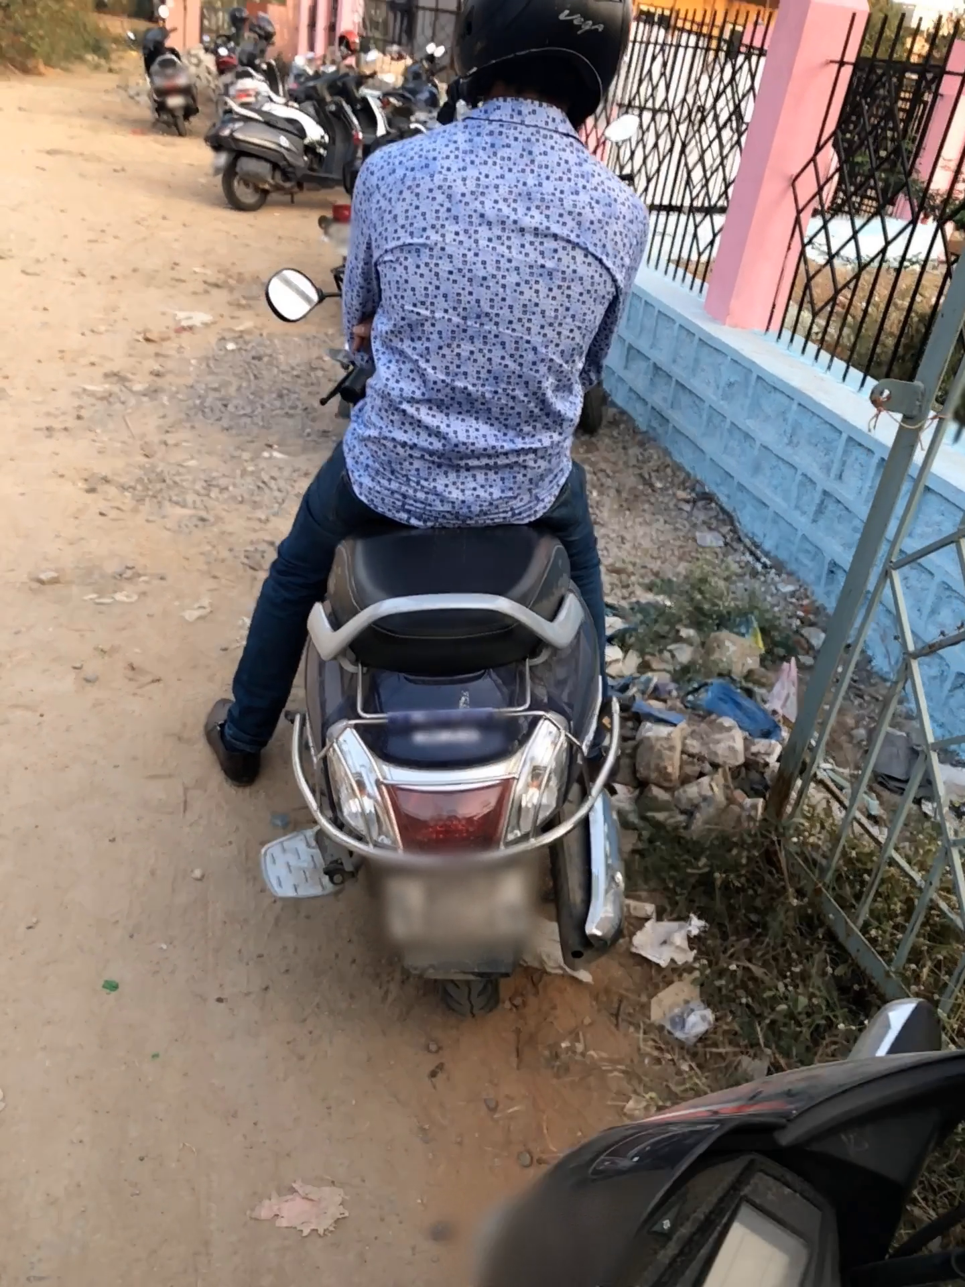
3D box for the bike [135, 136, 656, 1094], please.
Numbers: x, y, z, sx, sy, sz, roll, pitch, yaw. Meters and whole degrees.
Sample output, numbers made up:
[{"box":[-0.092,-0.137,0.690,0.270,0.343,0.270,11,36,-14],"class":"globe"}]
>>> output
[{"box":[-0.320,-0.180,2.007,0.593,1.013,1.400,2,34,-14],"class":"bike"}]
